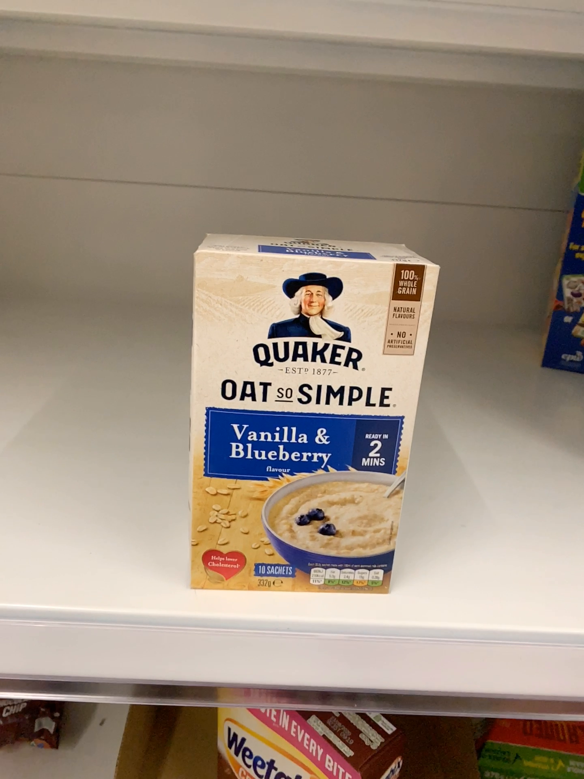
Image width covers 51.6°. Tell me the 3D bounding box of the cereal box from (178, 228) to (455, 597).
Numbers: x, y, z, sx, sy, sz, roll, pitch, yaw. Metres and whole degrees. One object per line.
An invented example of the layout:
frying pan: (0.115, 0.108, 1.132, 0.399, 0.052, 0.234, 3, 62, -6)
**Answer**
cereal box: (0.005, 0.015, 0.378, 0.140, 0.209, 0.081, 3, 20, -4)
